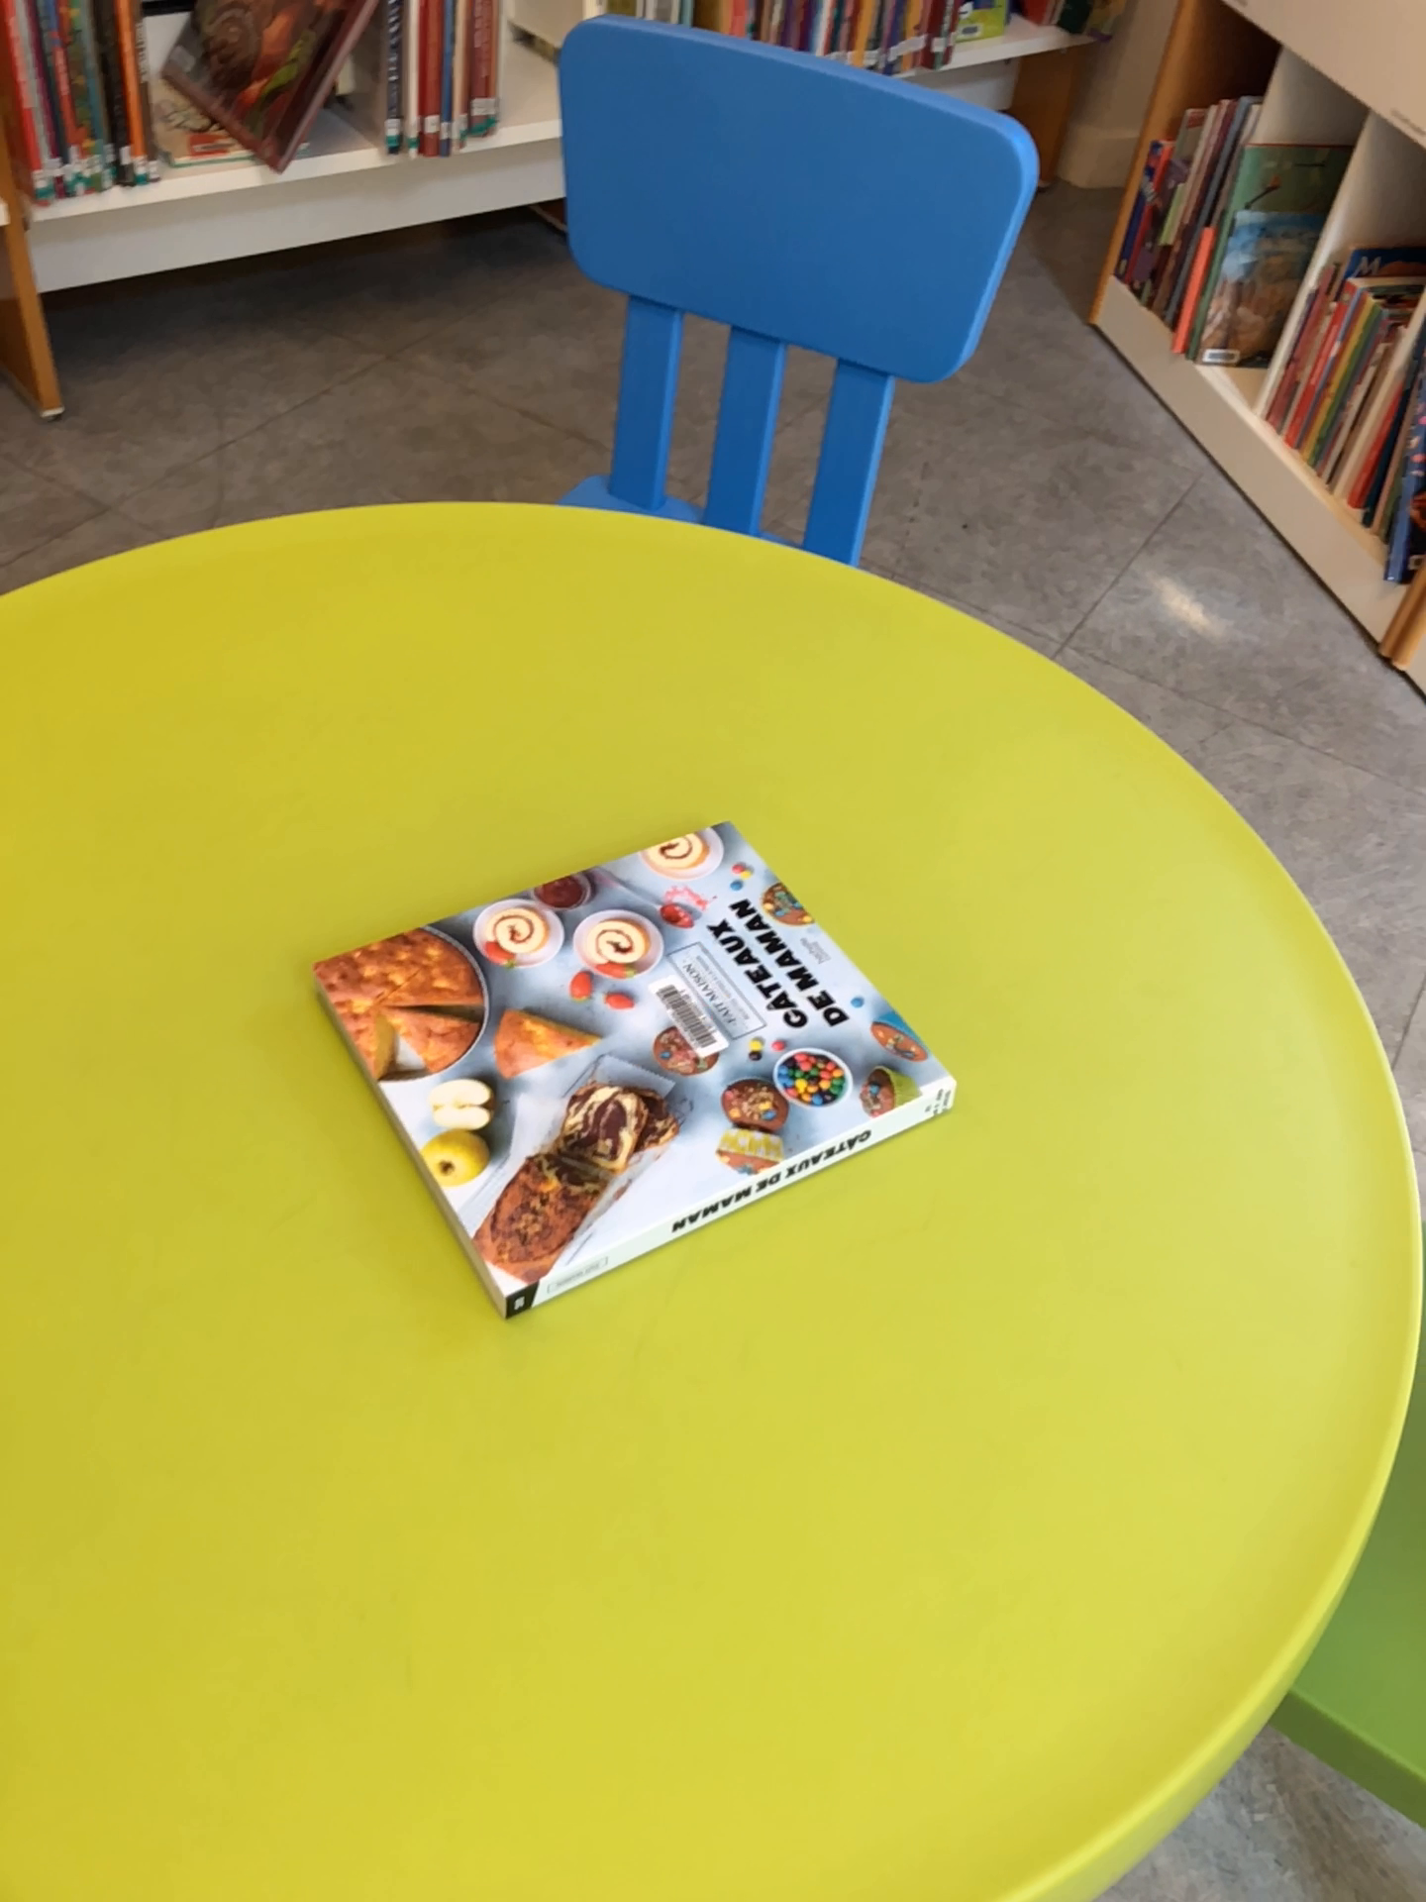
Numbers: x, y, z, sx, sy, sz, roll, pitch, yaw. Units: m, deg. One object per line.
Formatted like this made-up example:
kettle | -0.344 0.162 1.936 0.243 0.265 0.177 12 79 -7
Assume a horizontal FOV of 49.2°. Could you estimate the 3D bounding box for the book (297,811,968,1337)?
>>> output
book | -0.038 0.039 0.697 0.229 0.021 0.200 -21 53 -25
